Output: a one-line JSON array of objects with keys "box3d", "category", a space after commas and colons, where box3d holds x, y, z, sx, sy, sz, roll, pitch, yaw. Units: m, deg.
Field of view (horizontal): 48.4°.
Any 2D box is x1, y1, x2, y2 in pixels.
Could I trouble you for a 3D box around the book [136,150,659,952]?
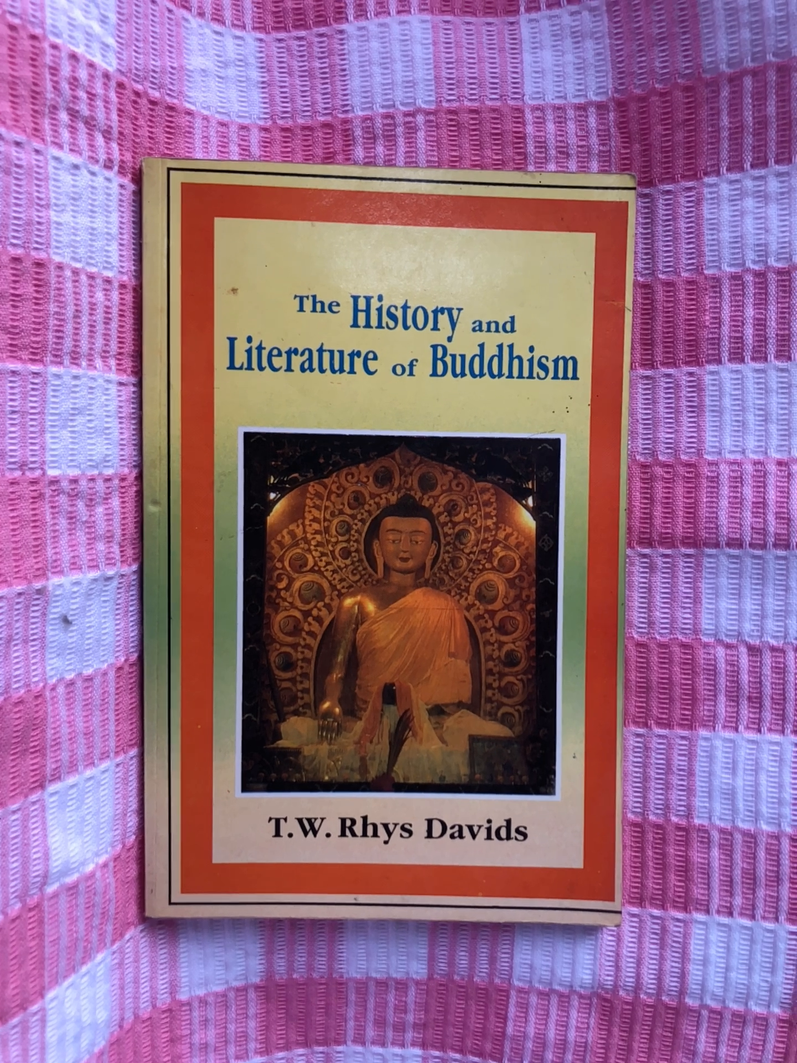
[{"box3d": [-0.002, 0.007, 0.257, 0.020, 0.140, 0.220, -73, 164, -86], "category": "book"}]
